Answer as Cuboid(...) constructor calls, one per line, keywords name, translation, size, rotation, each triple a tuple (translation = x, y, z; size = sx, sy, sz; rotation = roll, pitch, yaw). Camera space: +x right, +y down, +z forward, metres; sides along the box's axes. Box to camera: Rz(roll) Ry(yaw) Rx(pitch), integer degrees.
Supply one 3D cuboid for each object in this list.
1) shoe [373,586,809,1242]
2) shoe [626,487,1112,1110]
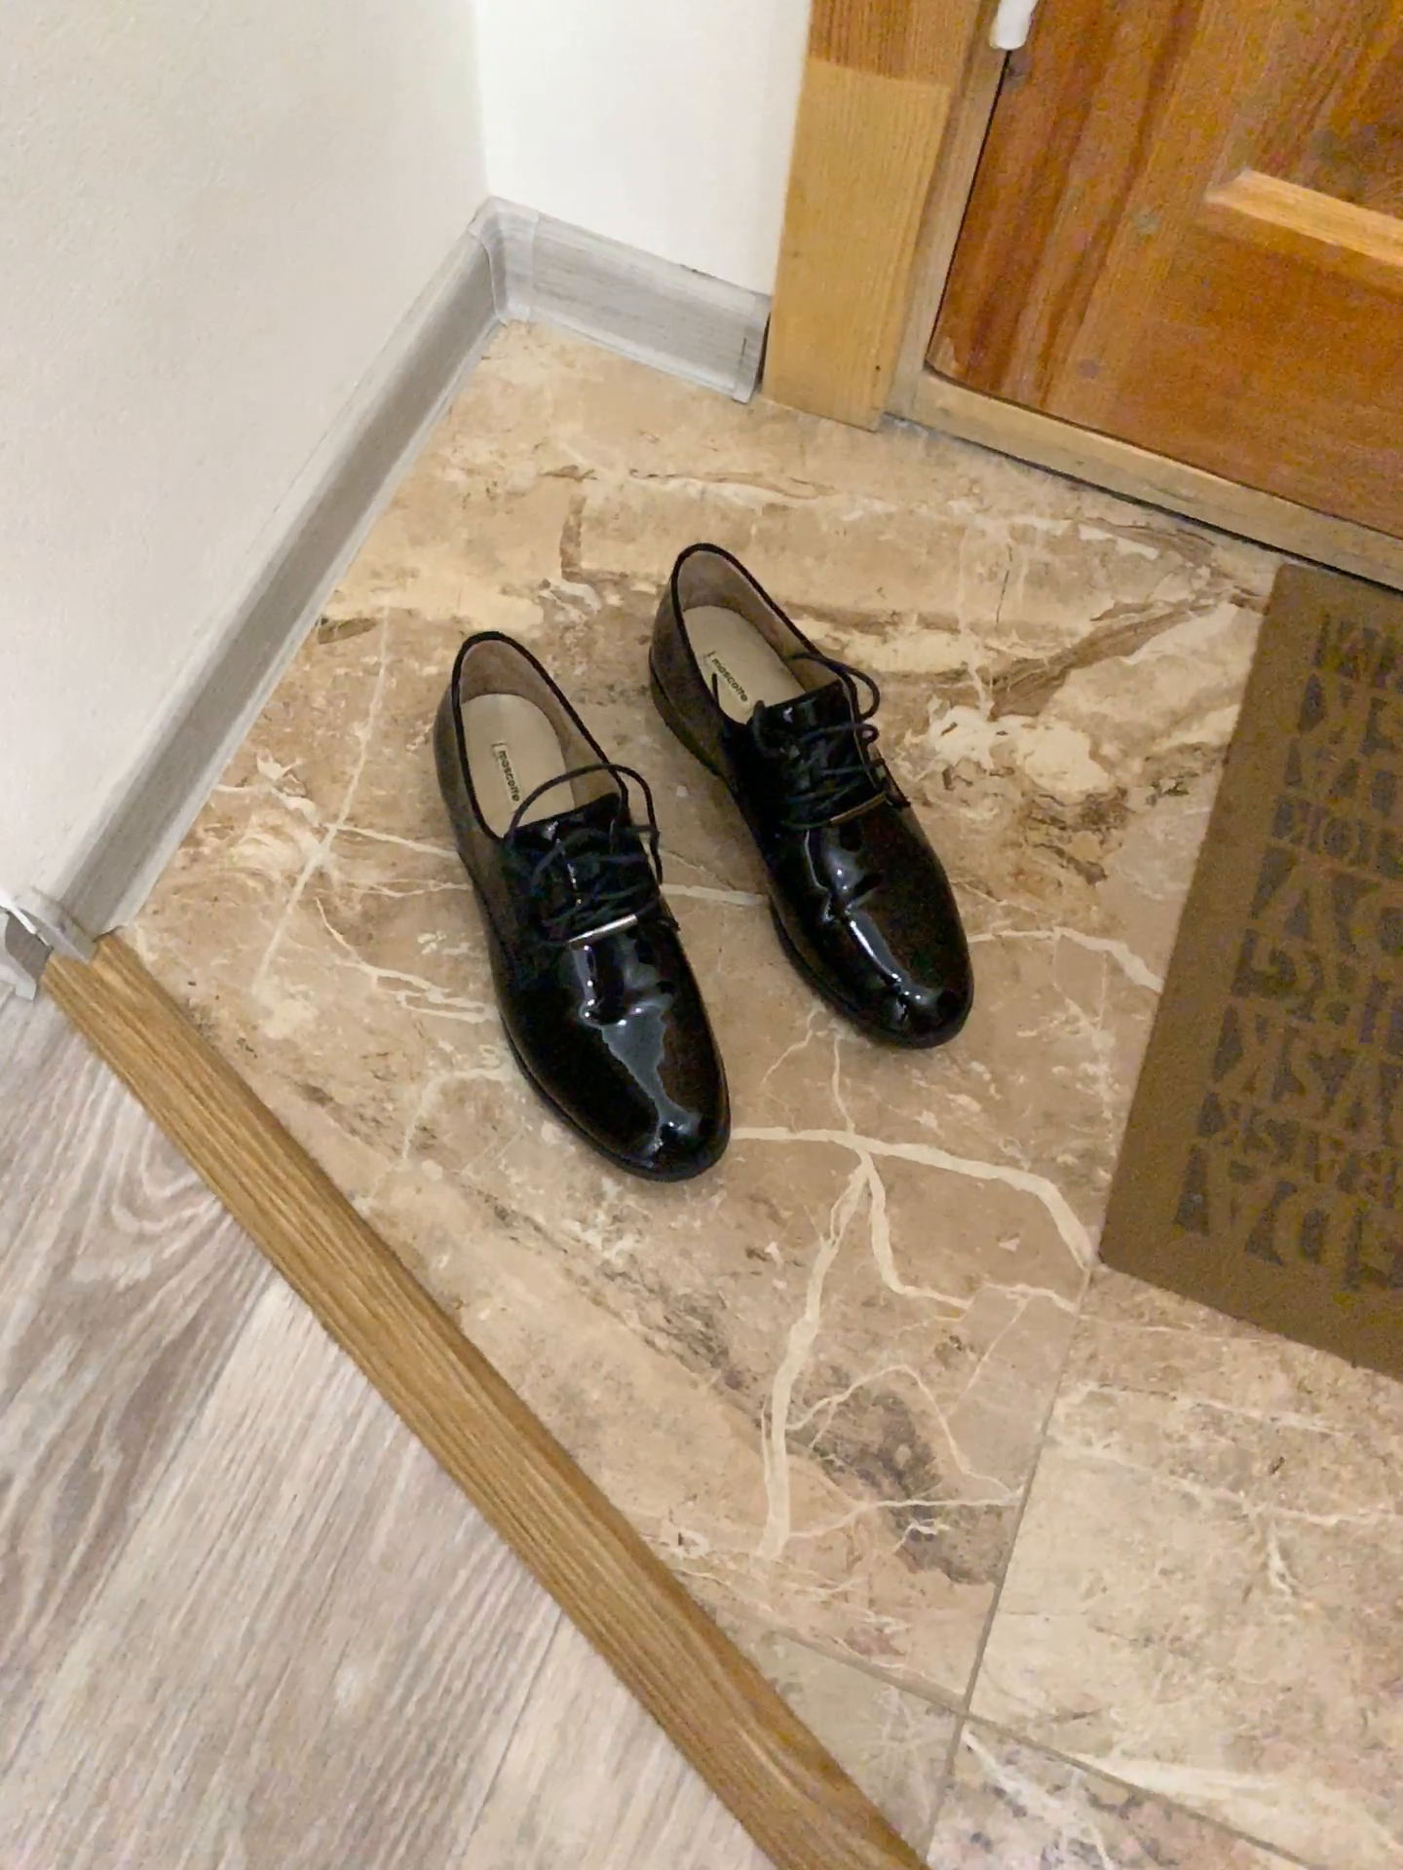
Cuboid(name="shoe", translation=(-0.050, -0.009, 0.589), size=(0.086, 0.110, 0.230), rotation=(-20, 69, -12))
Cuboid(name="shoe", translation=(0.059, -0.059, 0.622), size=(0.090, 0.110, 0.230), rotation=(-24, 70, -14))
